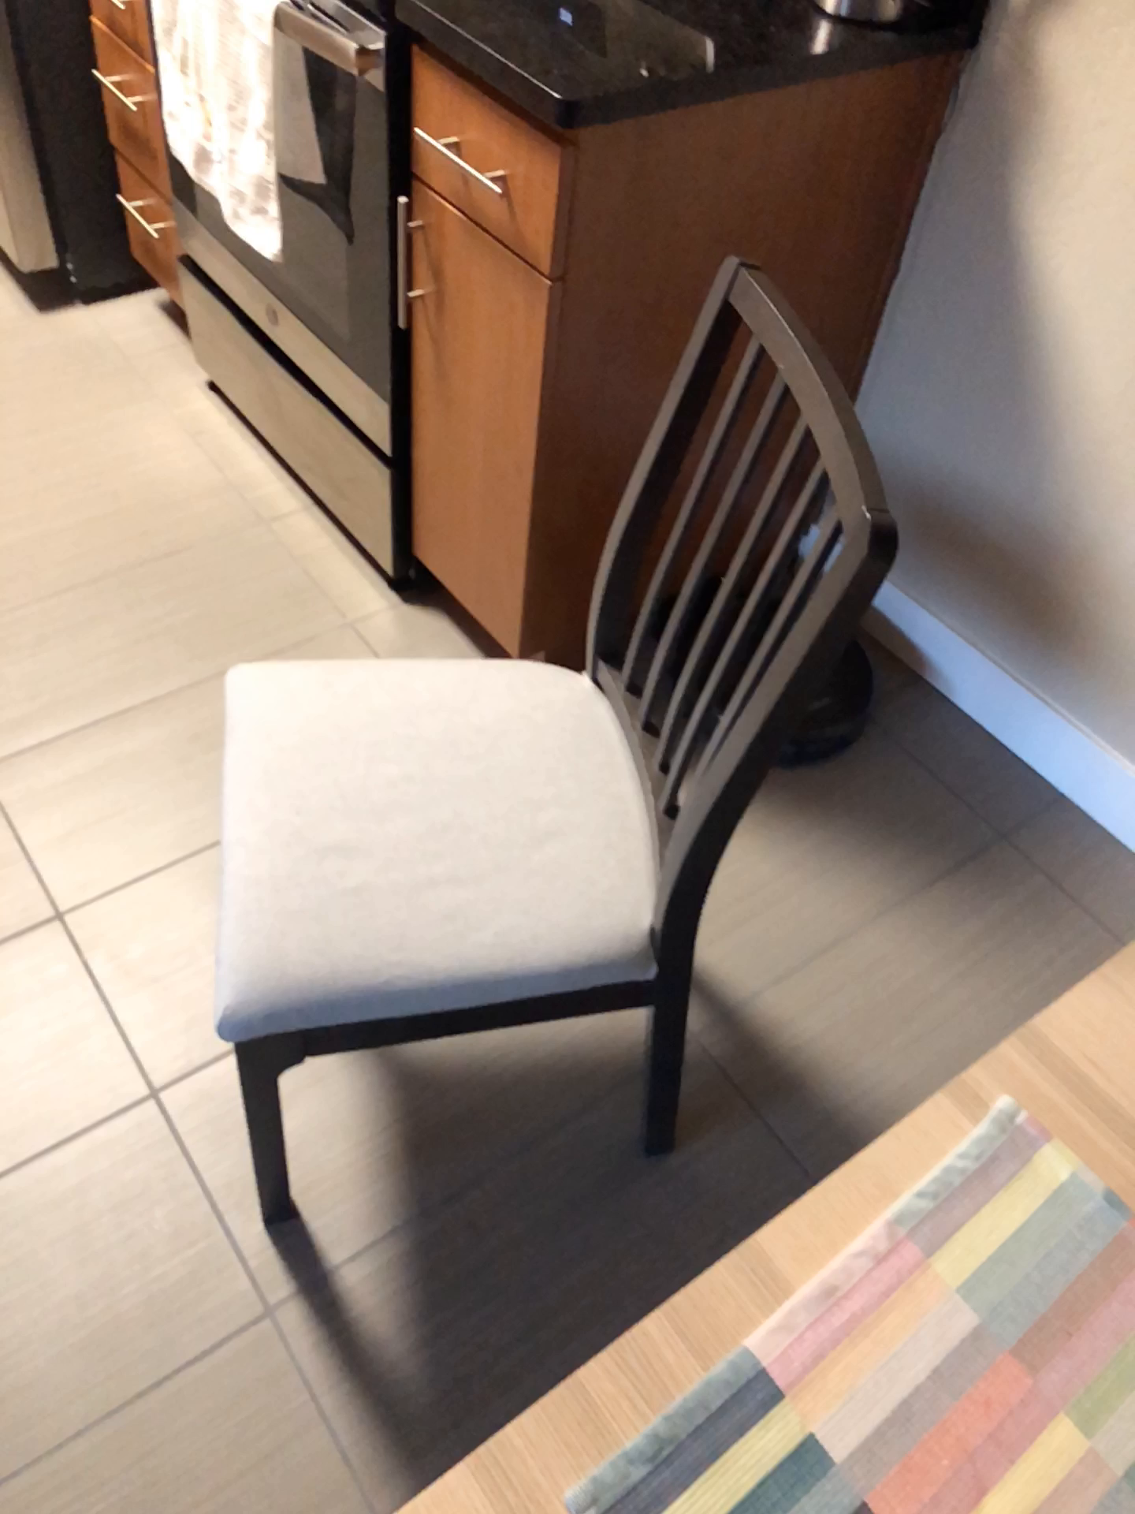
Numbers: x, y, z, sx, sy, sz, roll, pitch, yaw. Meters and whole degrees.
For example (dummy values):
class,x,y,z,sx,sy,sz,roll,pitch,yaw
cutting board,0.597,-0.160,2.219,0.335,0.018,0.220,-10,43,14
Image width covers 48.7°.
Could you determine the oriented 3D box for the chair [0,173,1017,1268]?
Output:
class,x,y,z,sx,sy,sz,roll,pitch,yaw
chair,-0.106,0.004,1.207,0.590,0.847,0.582,-3,48,-10
